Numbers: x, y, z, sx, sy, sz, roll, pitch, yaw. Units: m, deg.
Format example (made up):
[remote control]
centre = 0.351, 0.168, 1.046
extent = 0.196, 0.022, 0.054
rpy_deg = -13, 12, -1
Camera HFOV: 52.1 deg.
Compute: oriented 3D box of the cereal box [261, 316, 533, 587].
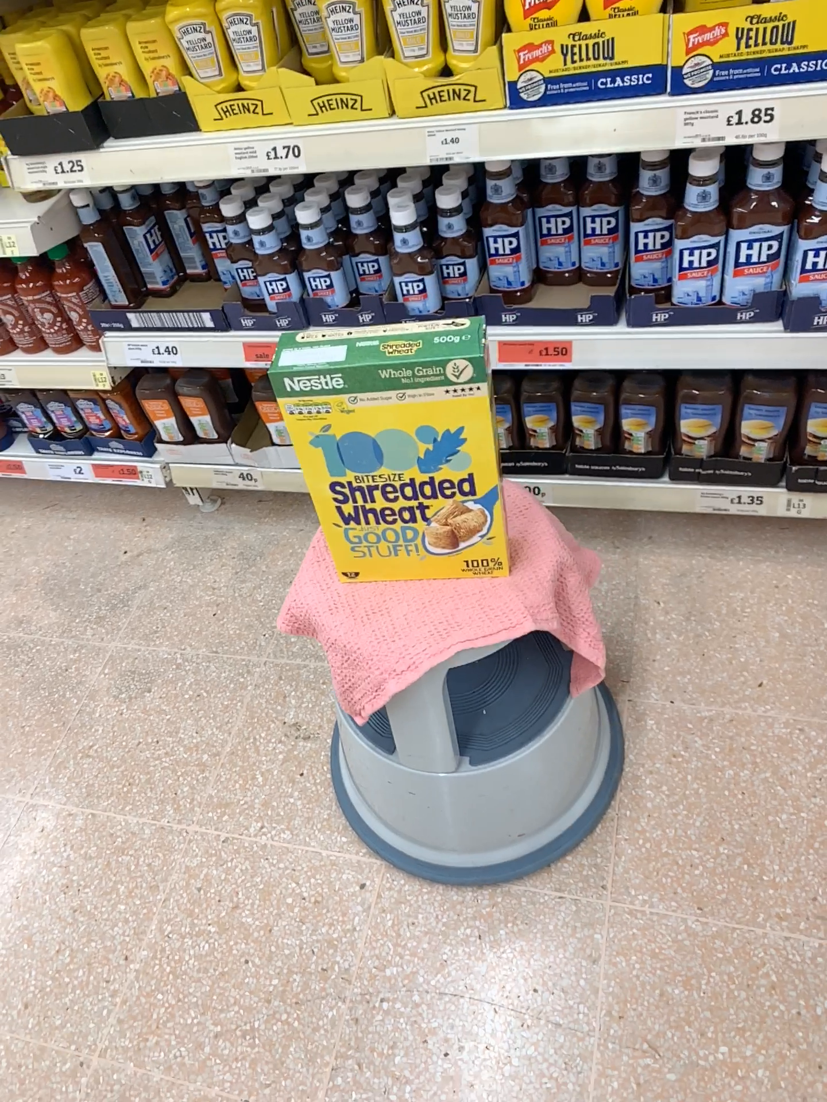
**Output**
[cereal box]
centre = 0.000, -0.082, 0.829
extent = 0.210, 0.277, 0.071
rpy_deg = -1, 48, 13
